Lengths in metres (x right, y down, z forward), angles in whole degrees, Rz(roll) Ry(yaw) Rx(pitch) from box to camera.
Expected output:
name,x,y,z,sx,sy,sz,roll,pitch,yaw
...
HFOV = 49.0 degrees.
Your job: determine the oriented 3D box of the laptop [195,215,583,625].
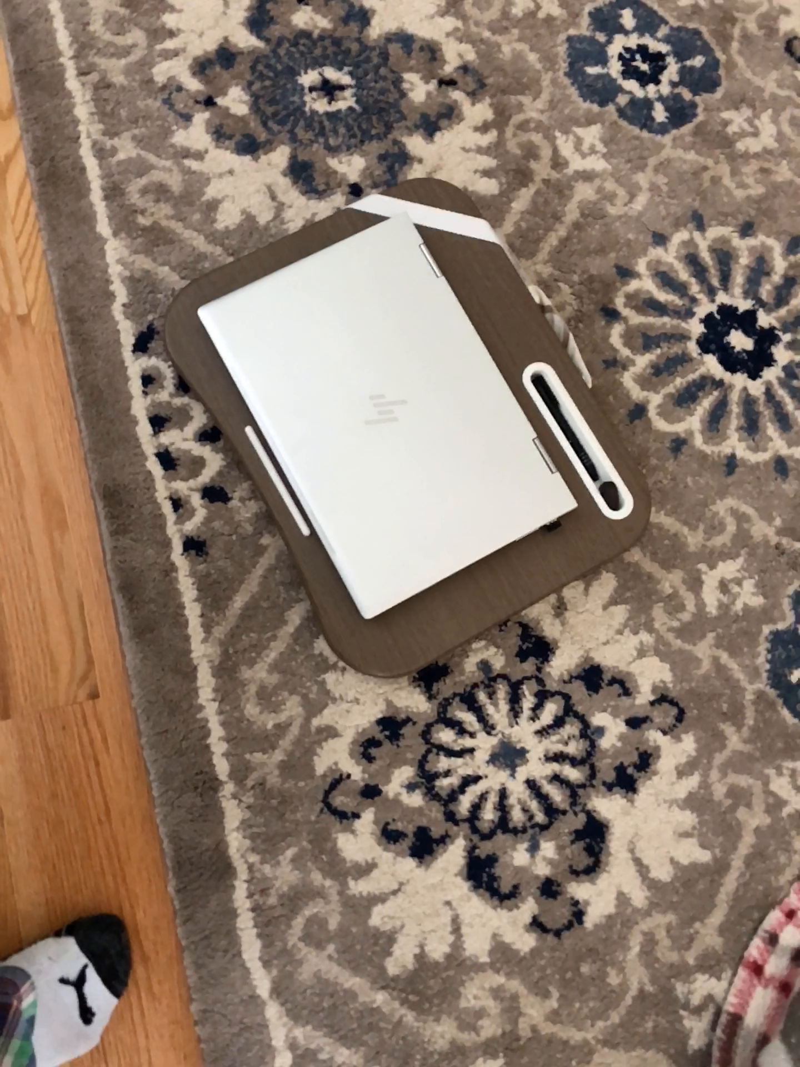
name,x,y,z,sx,sy,sz,roll,pitch,yaw
laptop,-0.014,-0.122,0.876,0.241,0.026,0.354,-28,81,-11
